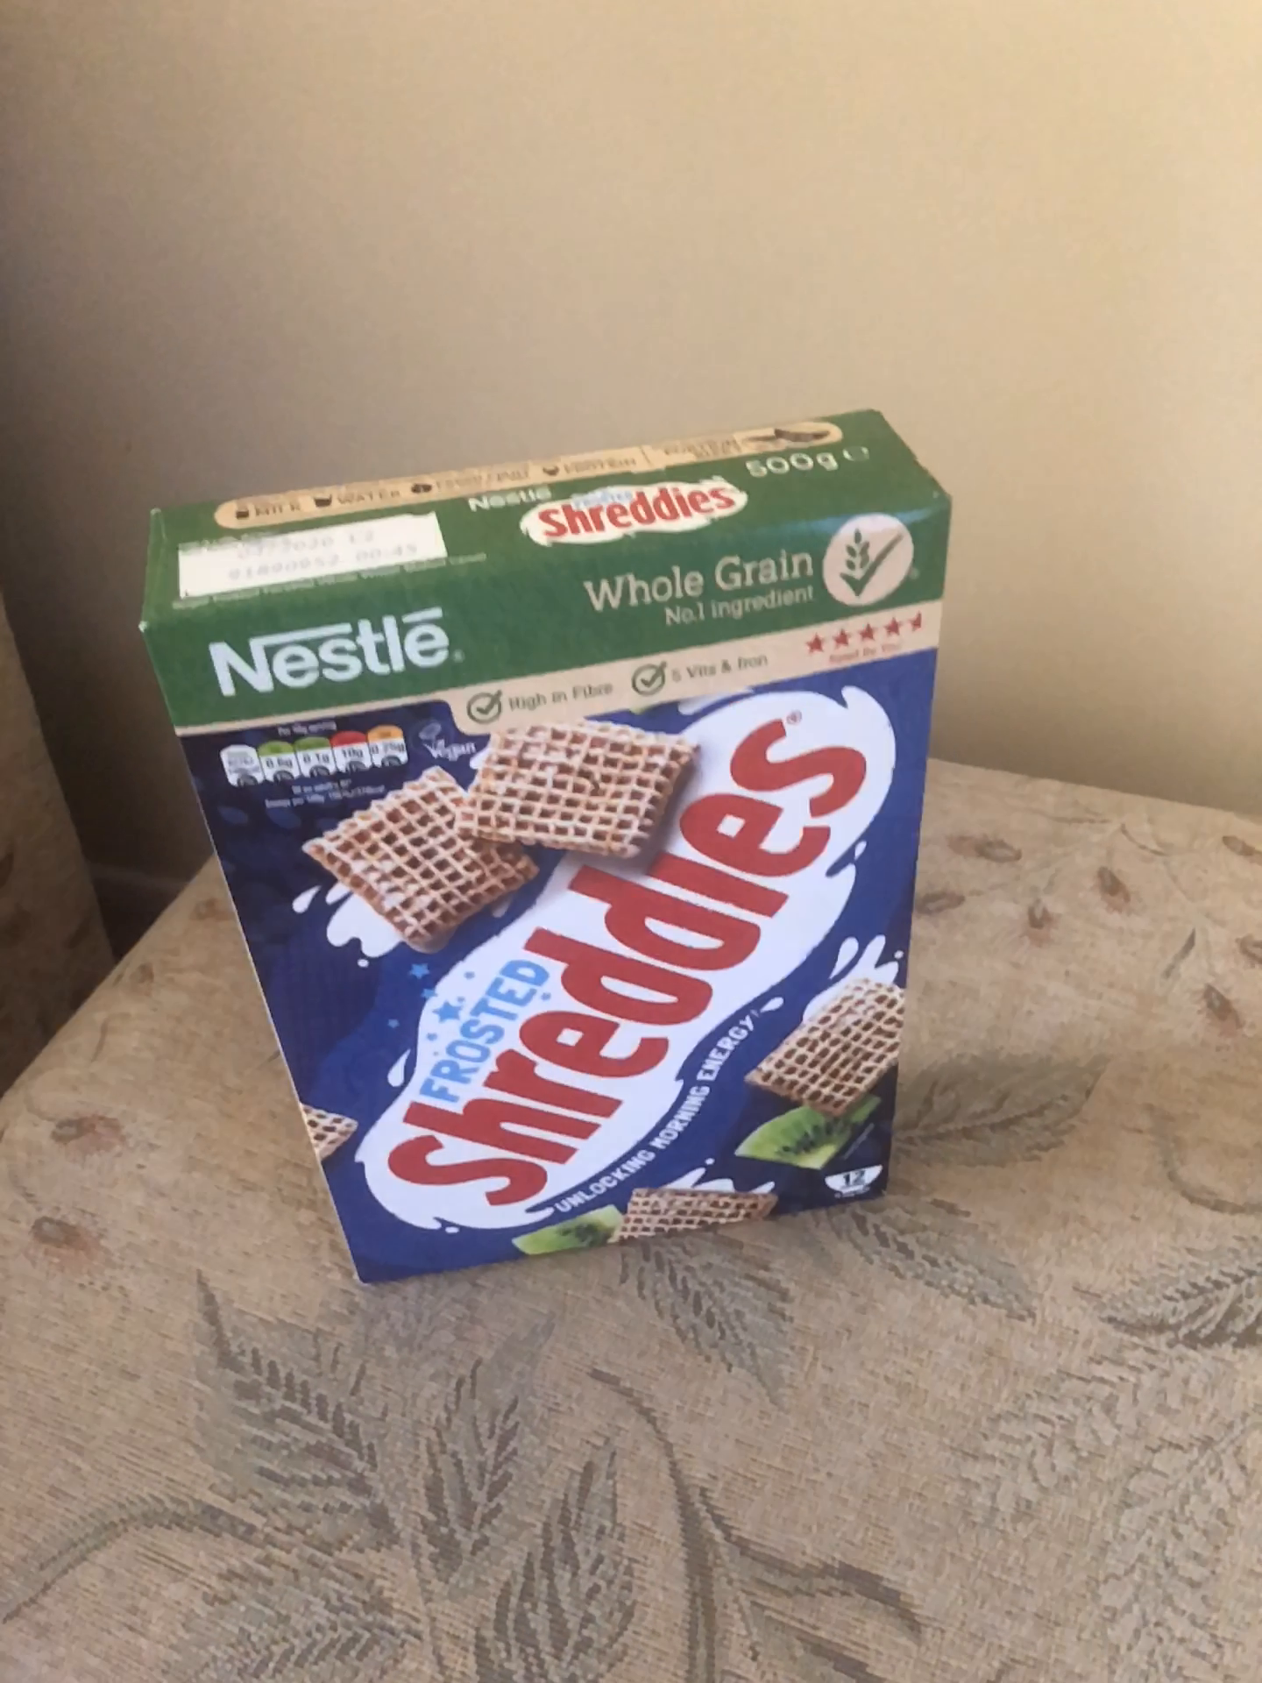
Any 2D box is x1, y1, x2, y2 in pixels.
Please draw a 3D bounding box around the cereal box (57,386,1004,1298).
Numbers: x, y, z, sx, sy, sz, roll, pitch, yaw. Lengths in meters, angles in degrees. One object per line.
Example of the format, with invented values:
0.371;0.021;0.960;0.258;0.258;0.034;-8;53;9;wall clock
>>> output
-0.017;0.018;0.401;0.200;0.258;0.060;-9;42;-5;cereal box
